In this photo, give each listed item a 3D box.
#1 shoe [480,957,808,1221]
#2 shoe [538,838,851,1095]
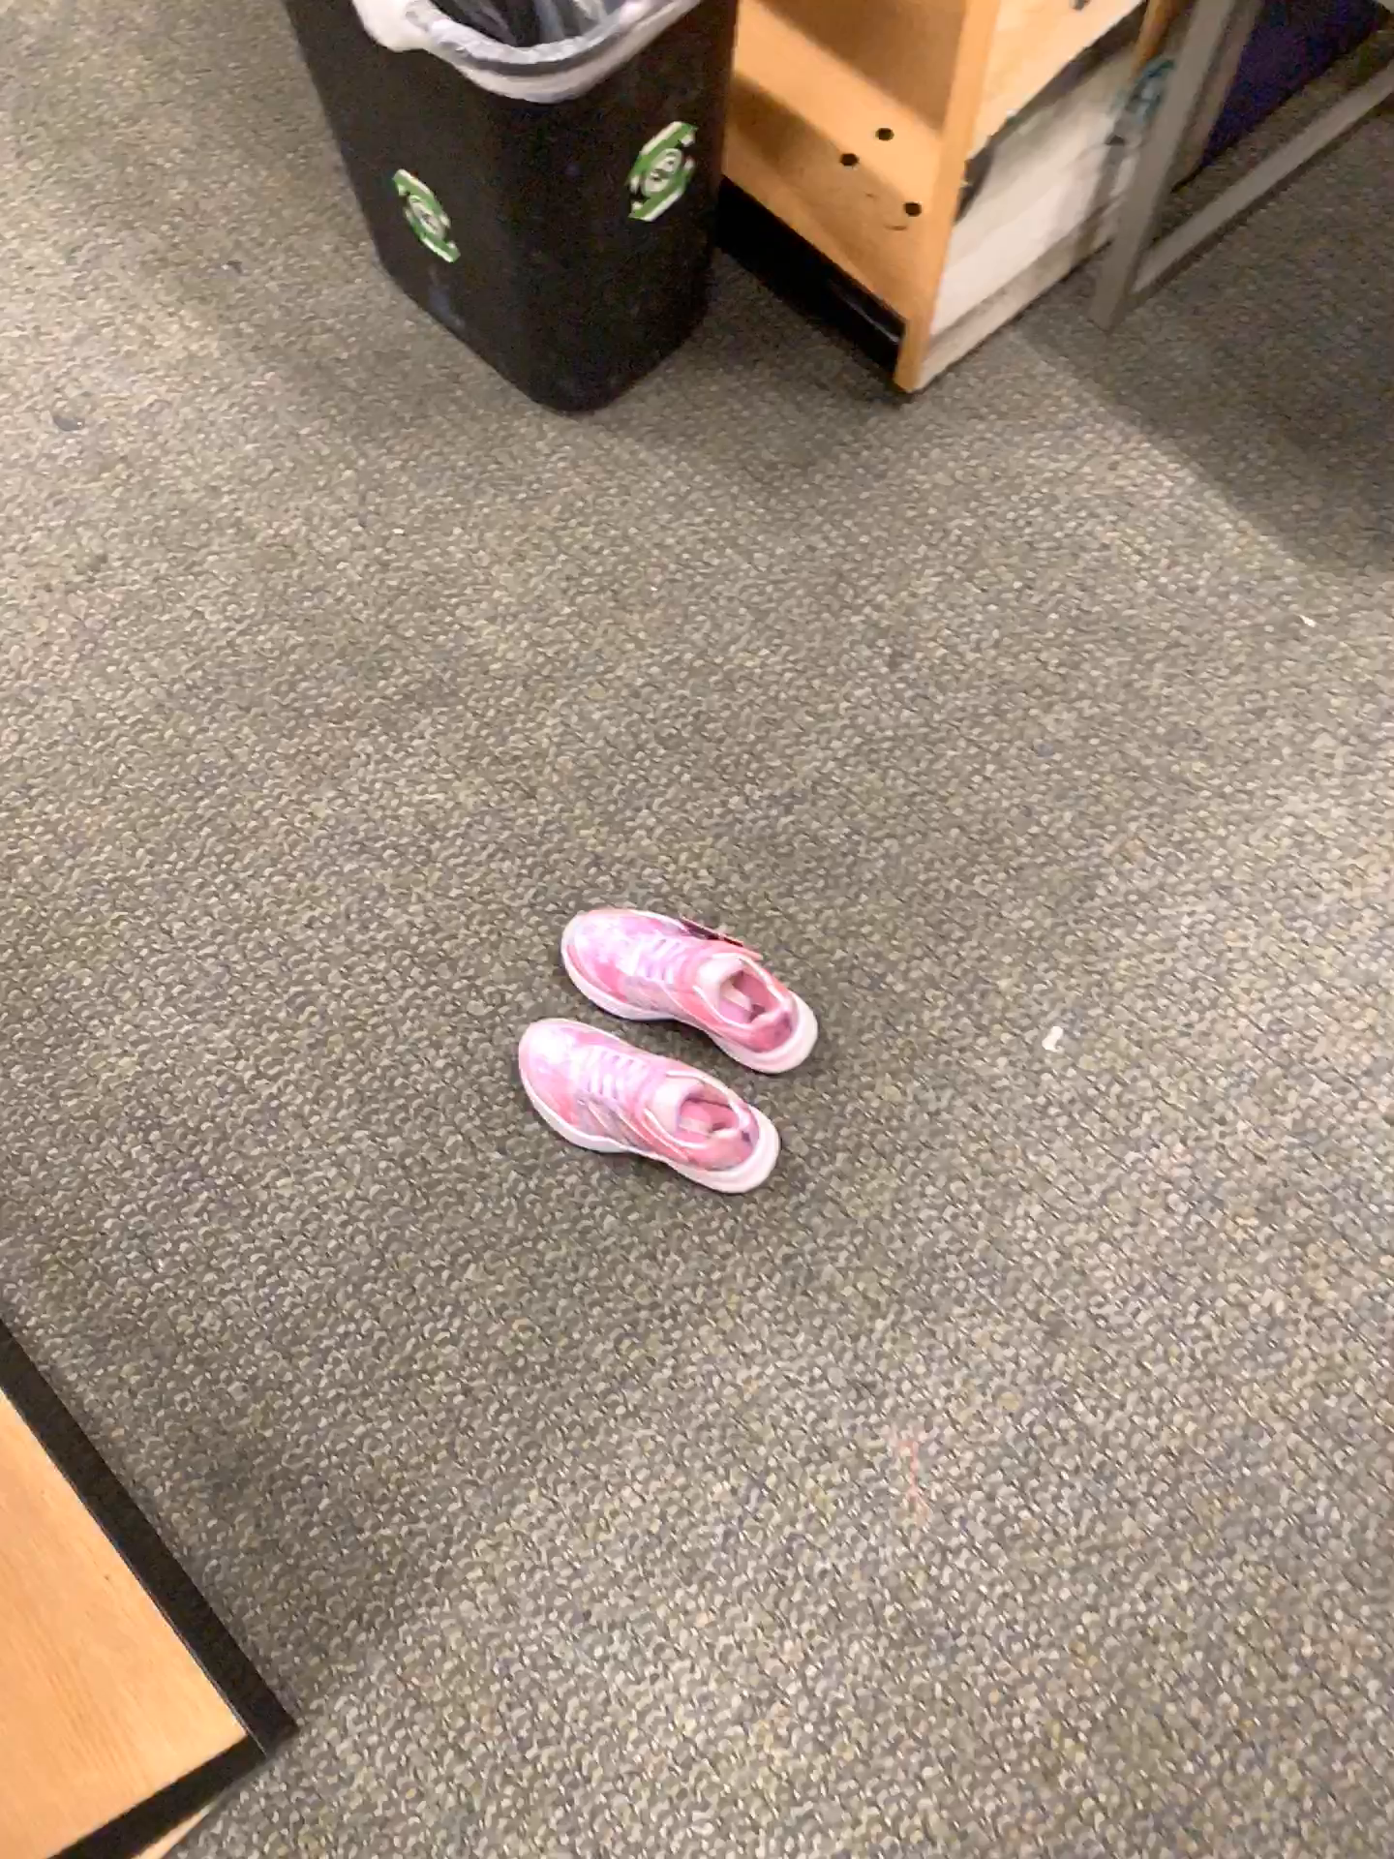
[{"bbox_3d":[-0.035,0.114,0.995,0.200,0.110,0.086,23,72,8],"label":"shoe"},{"bbox_3d":[-0.001,0.029,1.041,0.200,0.110,0.086,23,72,8],"label":"shoe"}]
